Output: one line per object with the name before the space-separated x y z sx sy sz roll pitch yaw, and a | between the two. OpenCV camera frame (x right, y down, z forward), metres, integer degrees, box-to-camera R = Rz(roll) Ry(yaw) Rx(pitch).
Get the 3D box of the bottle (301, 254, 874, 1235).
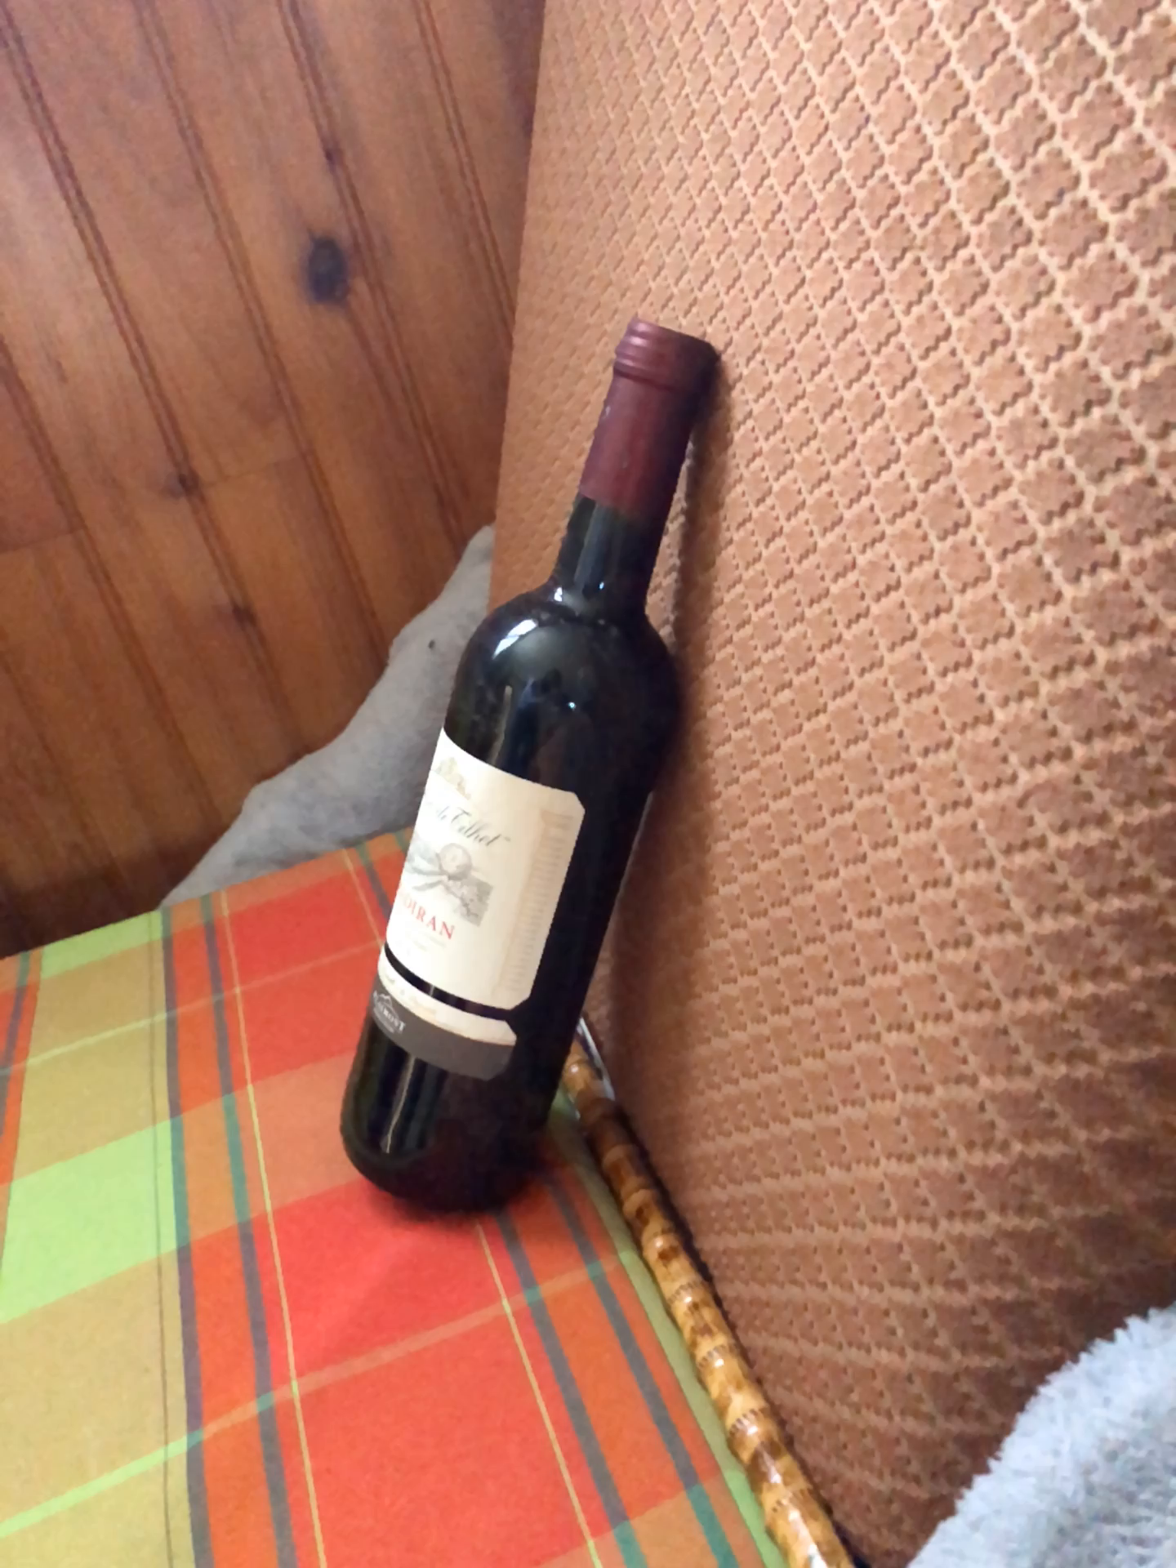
bottle | -0.012 -0.005 0.431 0.090 0.299 0.080 4 21 -33
